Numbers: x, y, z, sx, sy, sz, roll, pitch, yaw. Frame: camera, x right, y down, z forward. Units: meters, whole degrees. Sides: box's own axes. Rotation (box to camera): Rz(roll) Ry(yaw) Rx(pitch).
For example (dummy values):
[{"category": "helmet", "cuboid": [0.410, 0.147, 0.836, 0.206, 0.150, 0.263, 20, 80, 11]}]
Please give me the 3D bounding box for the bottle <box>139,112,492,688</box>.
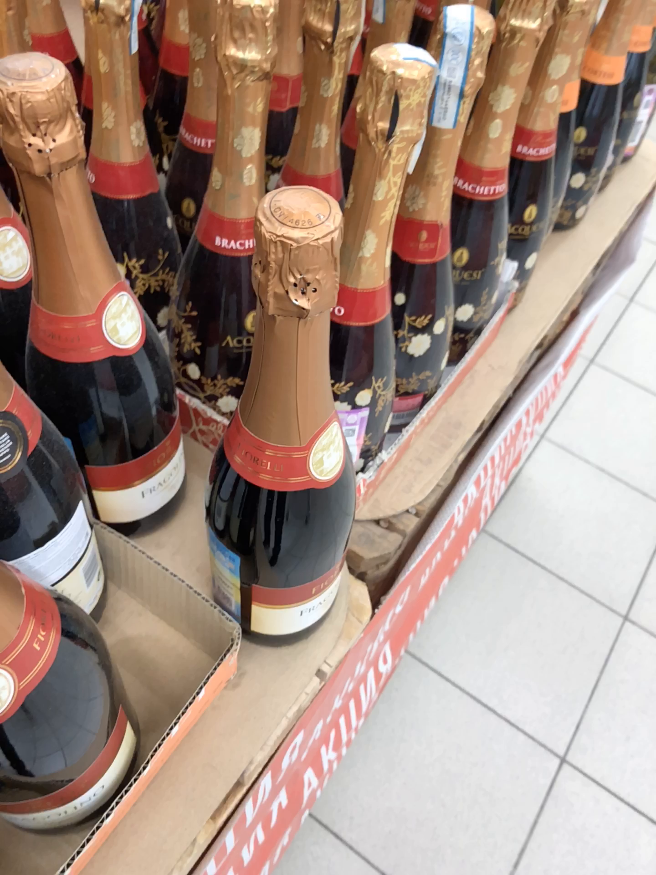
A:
[{"category": "bottle", "cuboid": [-0.018, 0.011, 0.370, 0.090, 0.298, 0.090, 4, 51, -5]}]
